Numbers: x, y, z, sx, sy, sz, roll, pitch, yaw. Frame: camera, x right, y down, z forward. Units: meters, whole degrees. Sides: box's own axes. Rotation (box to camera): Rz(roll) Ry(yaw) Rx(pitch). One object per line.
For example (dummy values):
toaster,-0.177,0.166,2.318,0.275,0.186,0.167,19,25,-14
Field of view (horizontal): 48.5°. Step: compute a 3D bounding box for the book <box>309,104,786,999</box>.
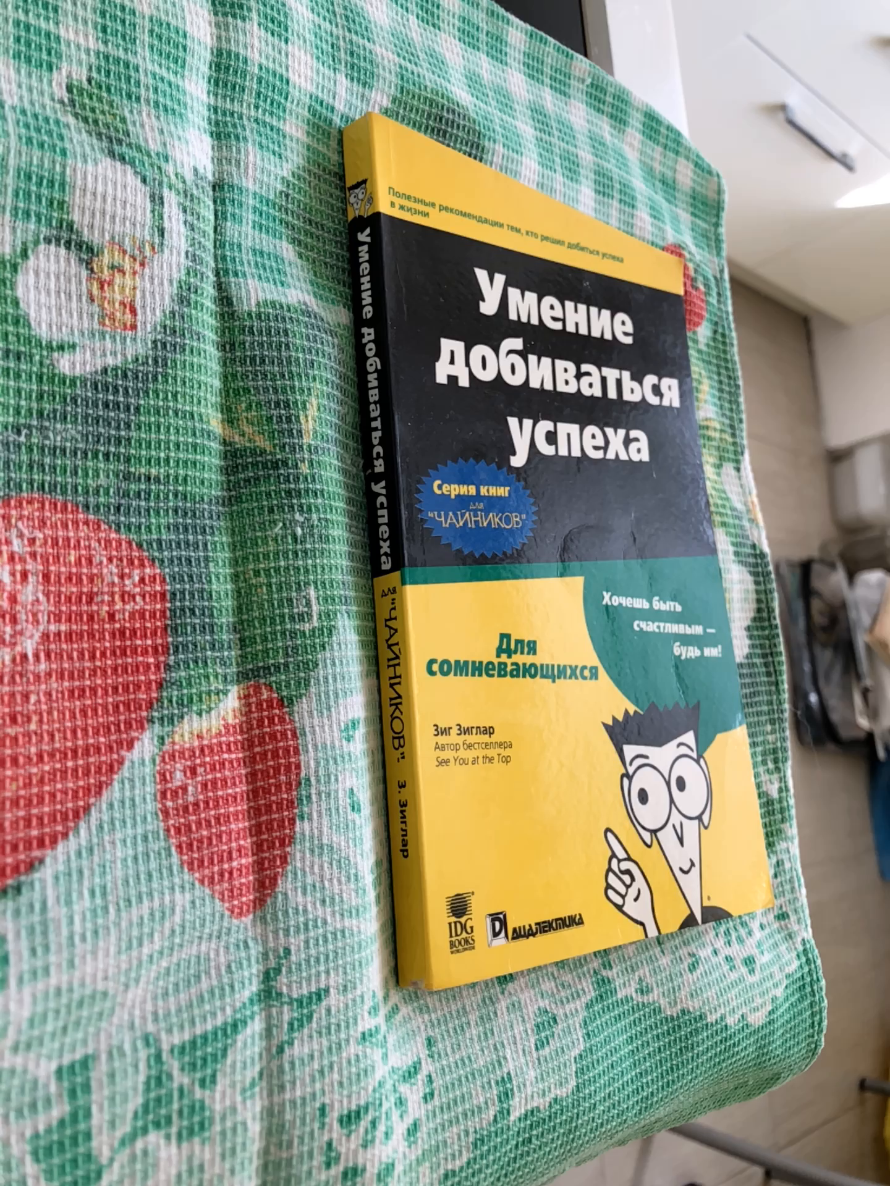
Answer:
book,0.026,-0.010,0.226,0.113,0.017,0.172,5,75,-39
